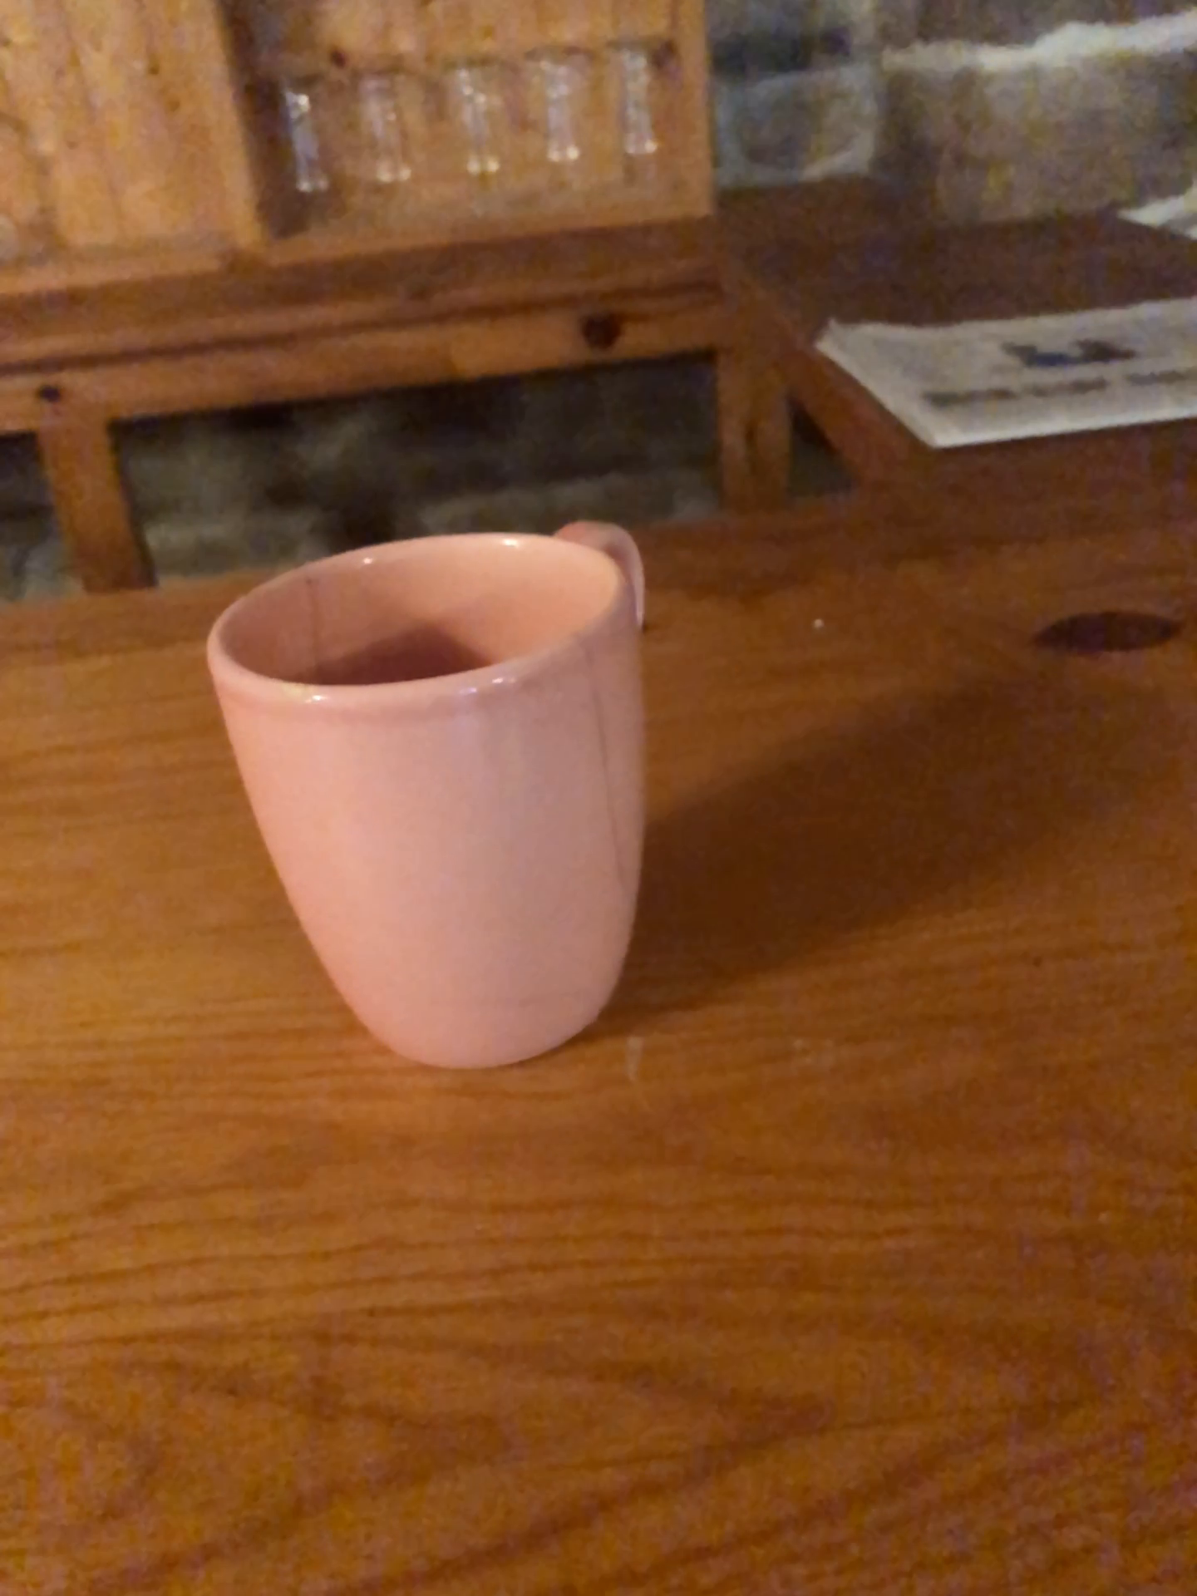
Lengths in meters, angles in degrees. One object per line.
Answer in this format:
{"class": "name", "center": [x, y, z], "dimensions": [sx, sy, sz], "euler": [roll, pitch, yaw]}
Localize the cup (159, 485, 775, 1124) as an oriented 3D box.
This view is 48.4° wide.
{"class": "cup", "center": [-0.018, -0.009, 0.315], "dimensions": [0.090, 0.095, 0.122], "euler": [6, 31, 20]}
